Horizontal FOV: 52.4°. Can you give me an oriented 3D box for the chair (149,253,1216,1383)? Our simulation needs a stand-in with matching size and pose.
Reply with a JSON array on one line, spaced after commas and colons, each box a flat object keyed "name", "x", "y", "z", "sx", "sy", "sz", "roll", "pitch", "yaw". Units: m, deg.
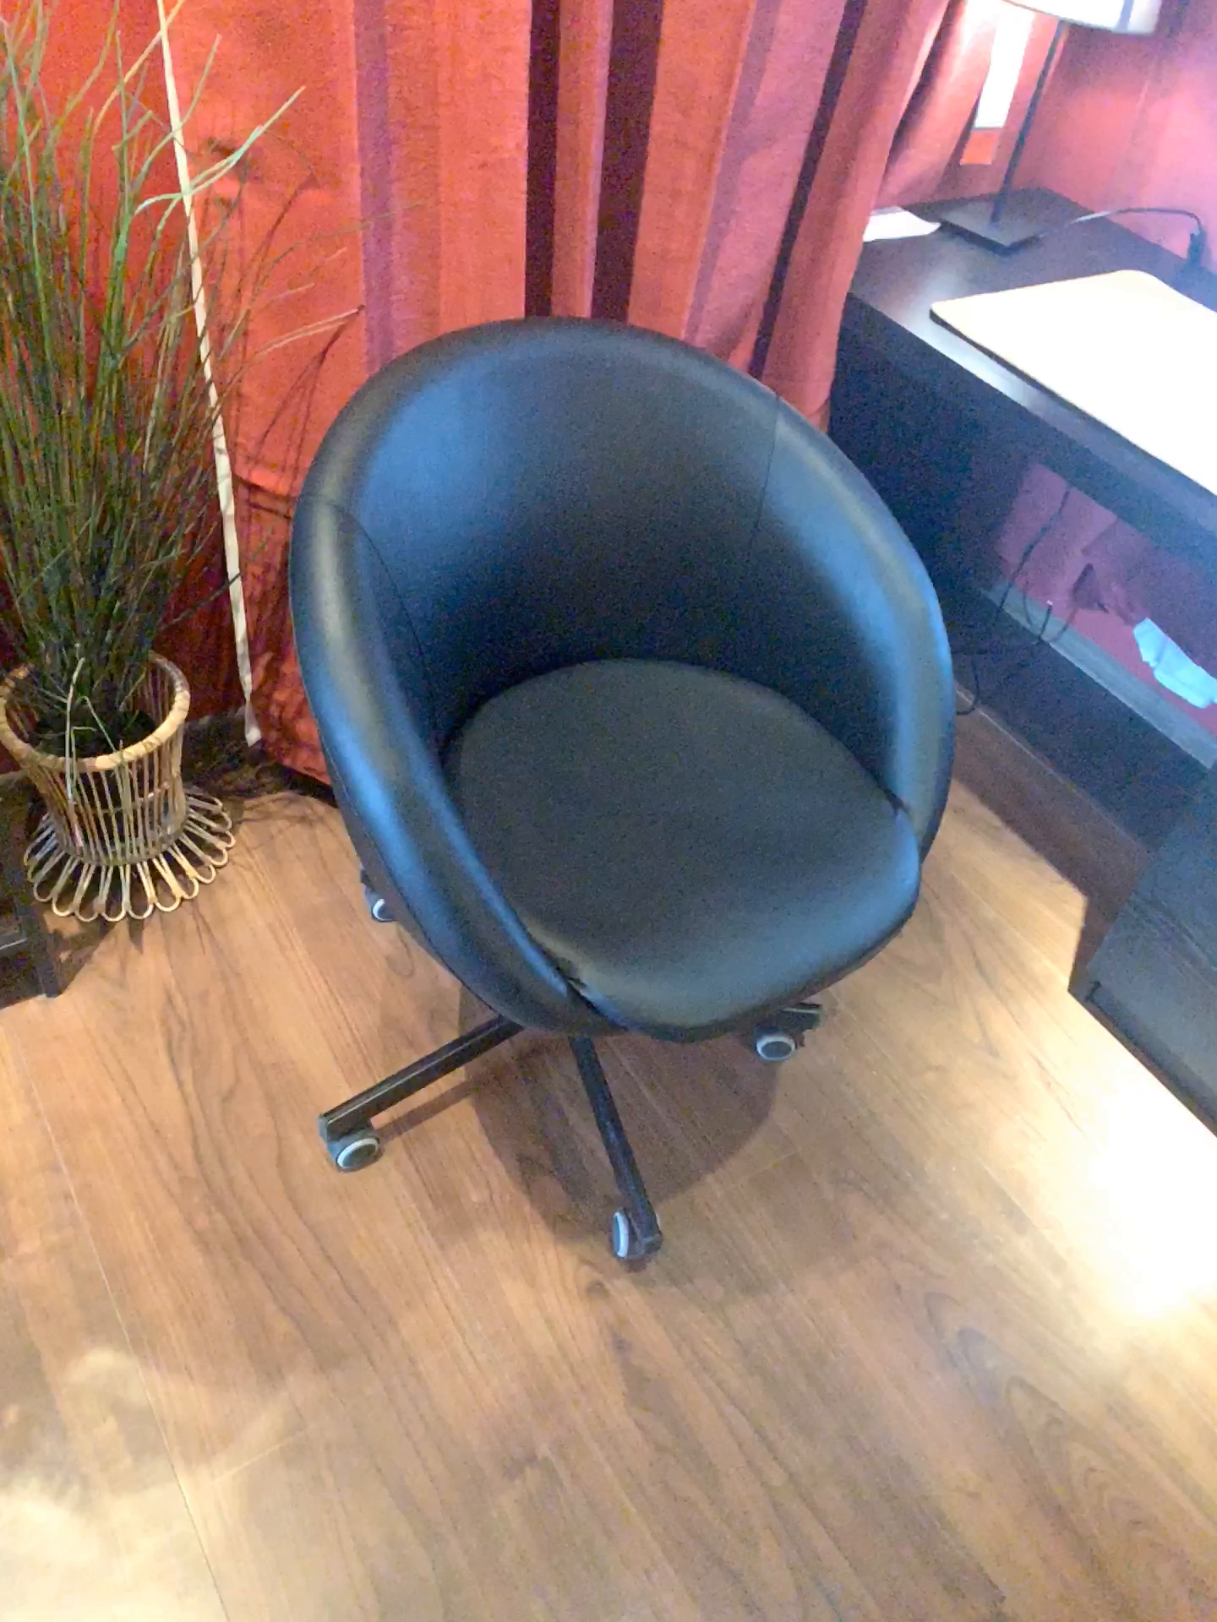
[{"name": "chair", "x": 0.035, "y": -0.018, "z": 1.181, "sx": 0.621, "sy": 0.697, "sz": 0.581, "roll": -28, "pitch": 57, "yaw": -32}]
